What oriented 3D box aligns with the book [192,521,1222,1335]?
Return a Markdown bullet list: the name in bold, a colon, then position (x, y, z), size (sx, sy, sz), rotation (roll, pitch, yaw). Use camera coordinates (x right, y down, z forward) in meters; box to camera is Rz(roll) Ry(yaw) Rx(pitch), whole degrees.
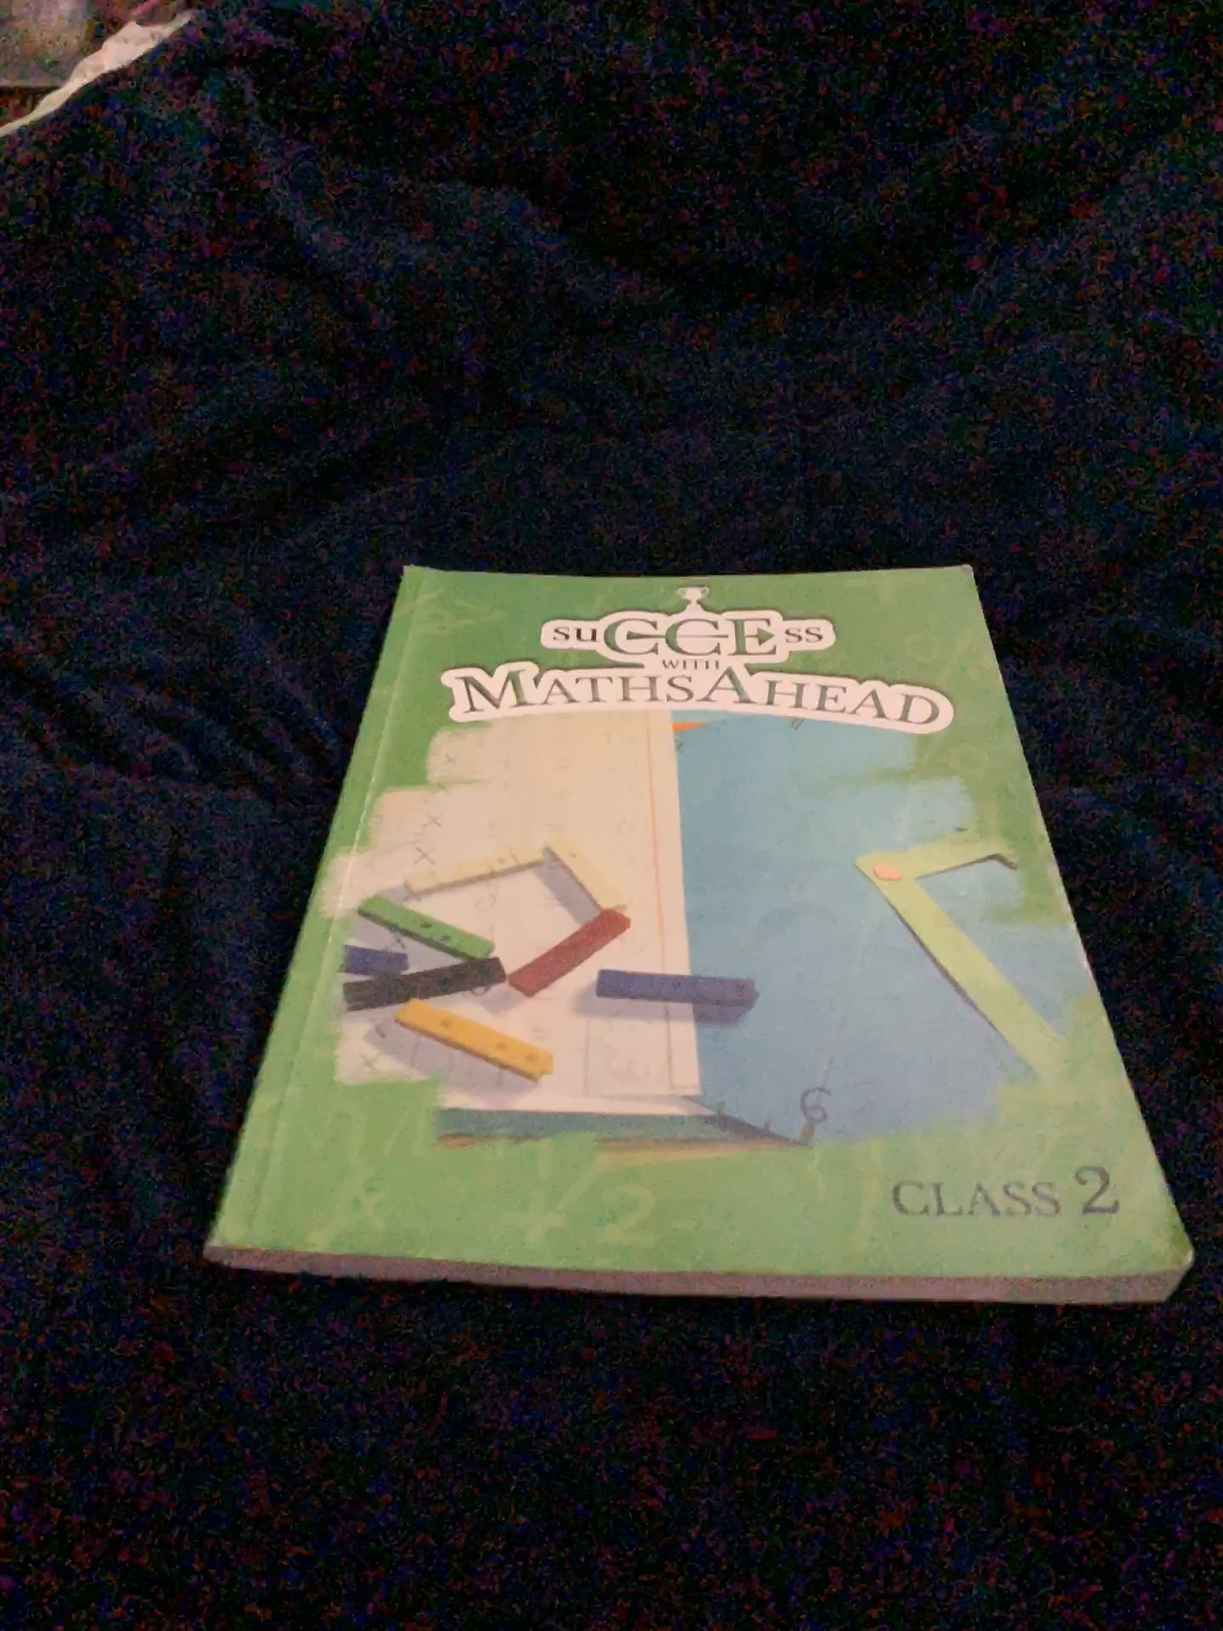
- **book**: position (0.031, 0.003, 0.368), size (0.230, 0.020, 0.281), rotation (2, 46, 1)
